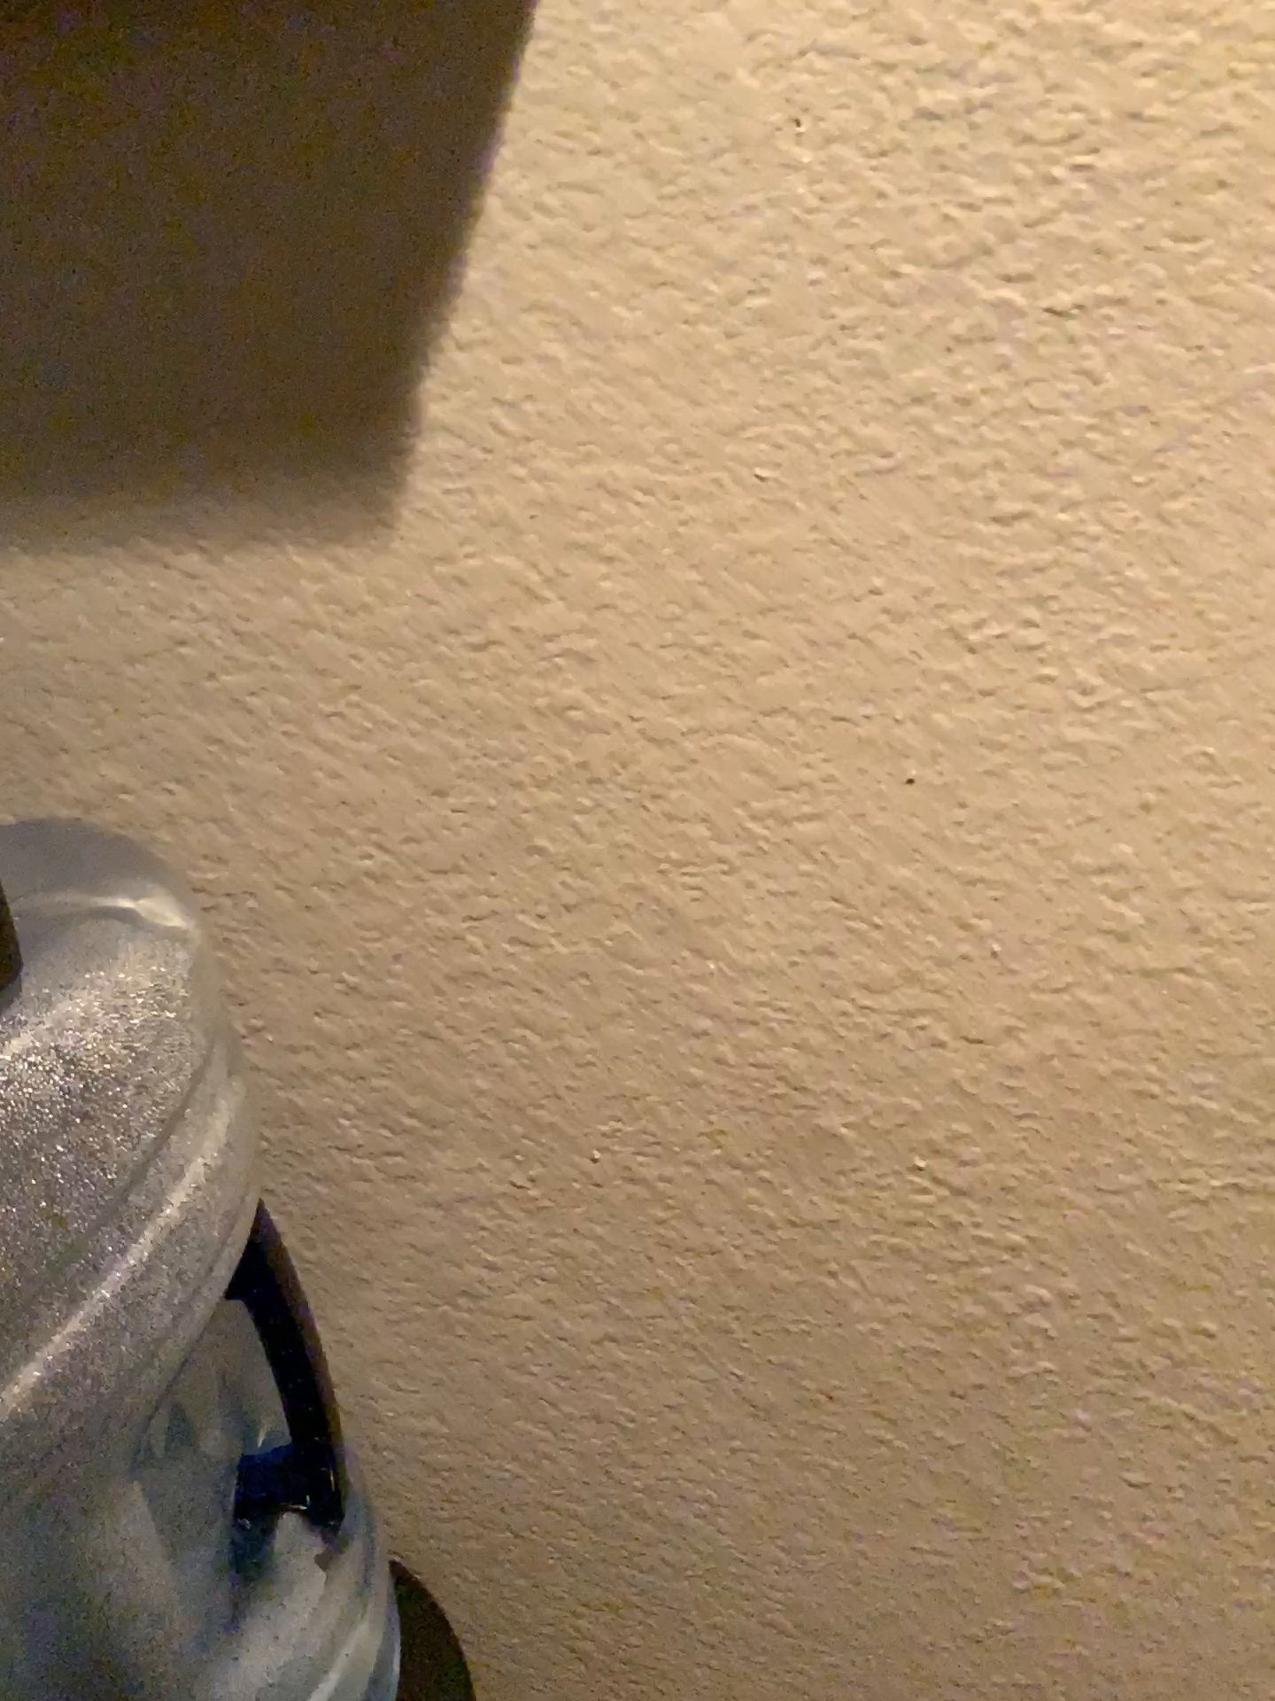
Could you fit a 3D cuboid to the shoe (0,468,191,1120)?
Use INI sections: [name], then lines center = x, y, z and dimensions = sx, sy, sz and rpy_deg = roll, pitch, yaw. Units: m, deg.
[shoe]
center = -0.280, -0.021, 0.388
dimensions = 0.250, 0.120, 0.130
rpy_deg = 0, 24, 19
